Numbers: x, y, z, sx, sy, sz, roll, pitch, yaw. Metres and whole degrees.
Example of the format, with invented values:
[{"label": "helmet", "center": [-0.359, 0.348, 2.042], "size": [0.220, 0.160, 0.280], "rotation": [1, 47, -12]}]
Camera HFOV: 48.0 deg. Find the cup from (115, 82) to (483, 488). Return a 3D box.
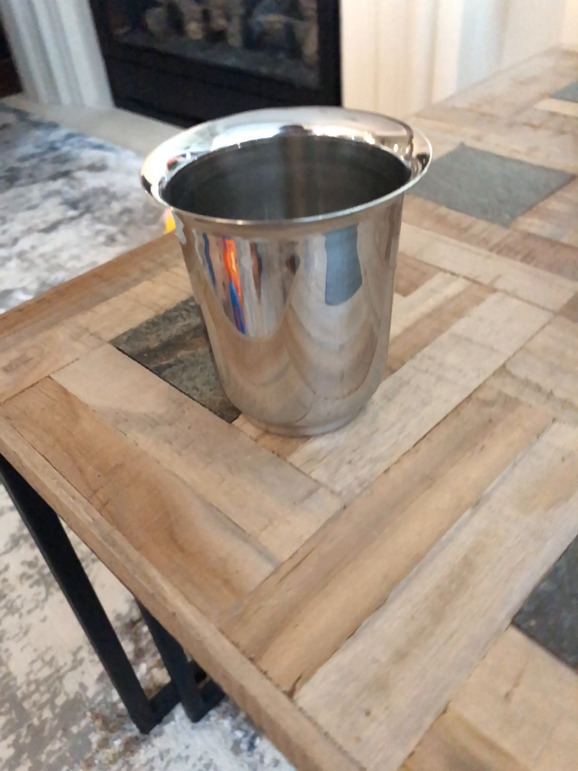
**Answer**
[{"label": "cup", "center": [0.000, -0.036, 0.215], "size": [0.084, 0.088, 0.083], "rotation": [-3, 41, 3]}]
